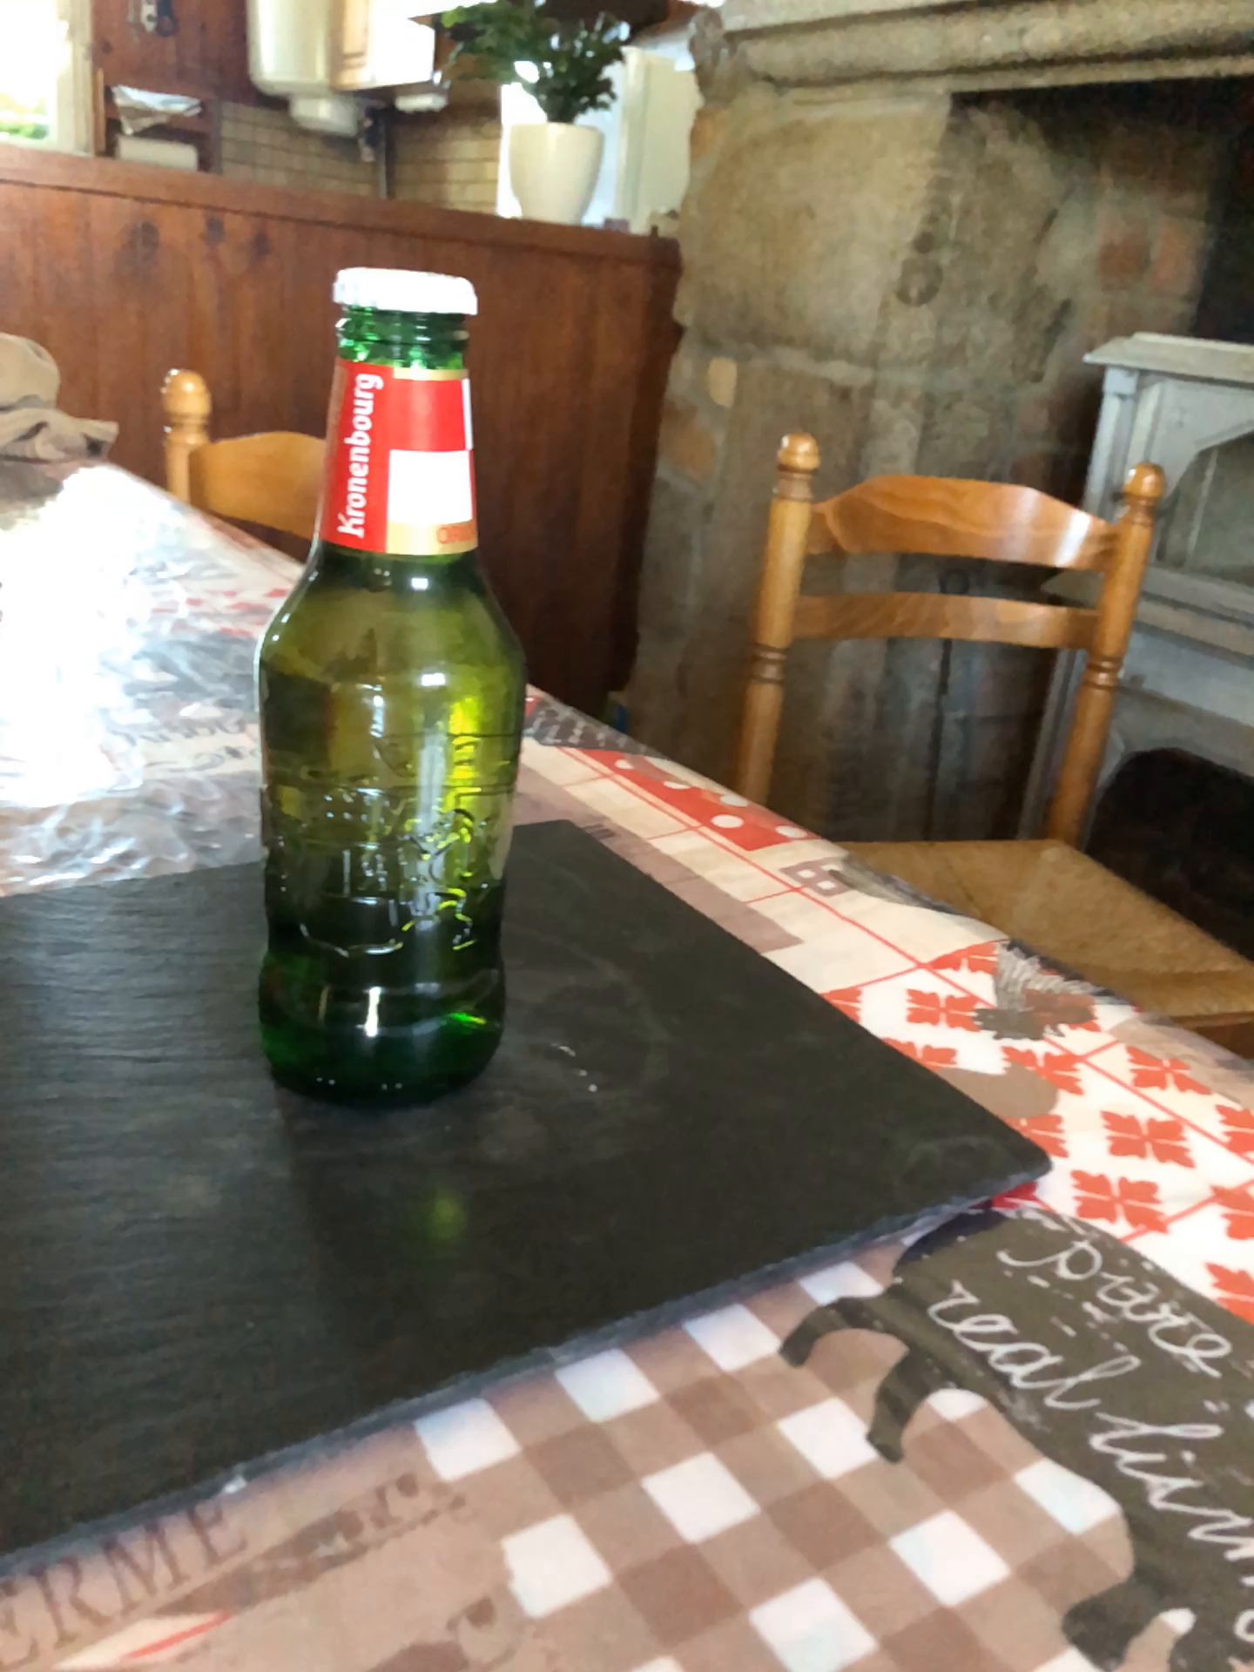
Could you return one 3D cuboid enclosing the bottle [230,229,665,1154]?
[{"bbox_3d":[-0.044,-0.031,0.304,0.060,0.179,0.060,5,20,-2],"label":"bottle"}]
